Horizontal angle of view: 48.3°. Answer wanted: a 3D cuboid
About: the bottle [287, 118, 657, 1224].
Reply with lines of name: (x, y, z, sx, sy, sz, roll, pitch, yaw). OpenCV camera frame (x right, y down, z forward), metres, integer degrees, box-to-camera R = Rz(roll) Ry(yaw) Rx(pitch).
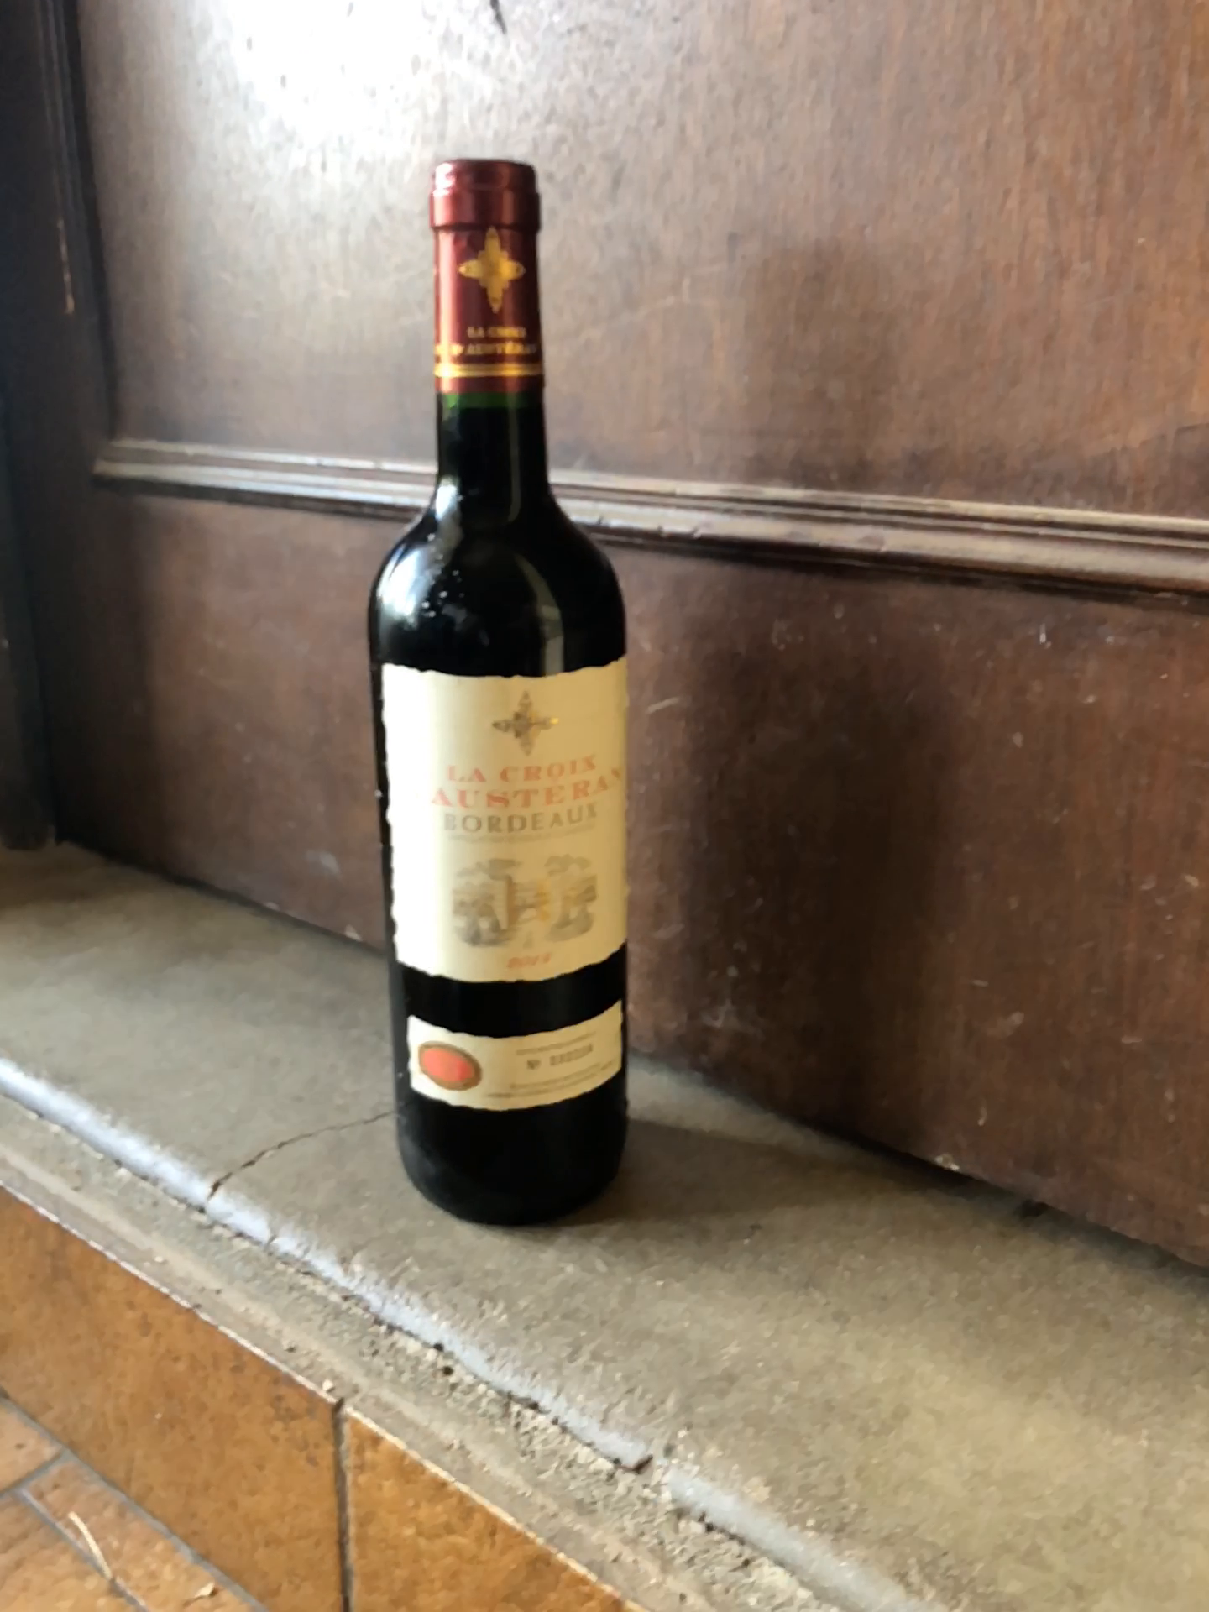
bottle: (-0.031, -0.029, 0.373, 0.080, 0.279, 0.080, 0, 18, 0)
